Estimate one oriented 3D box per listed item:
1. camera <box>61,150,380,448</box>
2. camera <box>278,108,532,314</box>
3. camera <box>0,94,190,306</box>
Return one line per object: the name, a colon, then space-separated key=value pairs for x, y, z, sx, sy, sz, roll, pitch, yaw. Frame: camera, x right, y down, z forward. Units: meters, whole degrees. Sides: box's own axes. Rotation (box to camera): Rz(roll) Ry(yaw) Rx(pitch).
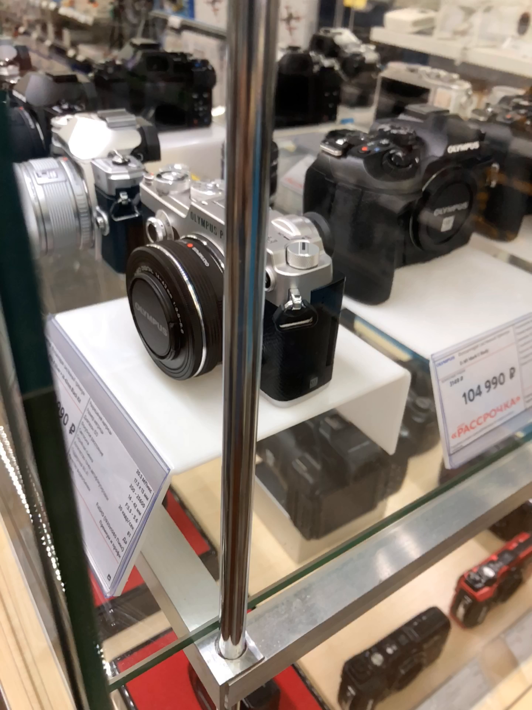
camera: x=-0.027 y=-0.036 z=0.268 sx=0.076 sy=0.070 sz=0.128 roll=-20 pitch=41 yaw=-31
camera: x=0.085 y=-0.091 z=0.347 sx=0.127 sy=0.075 sz=0.084 roll=-19 pitch=41 yaw=-31
camera: x=-0.120 y=-0.102 z=0.359 sx=0.099 sy=0.075 sz=0.128 roll=-18 pitch=40 yaw=-30
